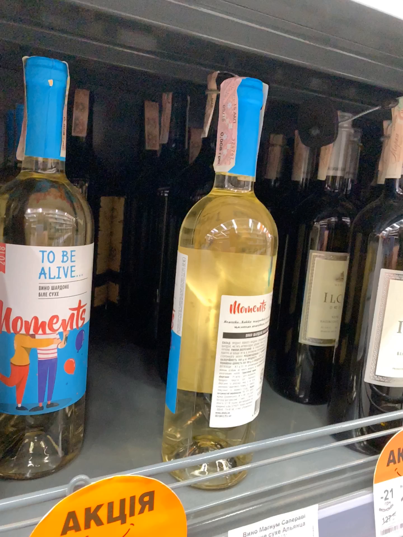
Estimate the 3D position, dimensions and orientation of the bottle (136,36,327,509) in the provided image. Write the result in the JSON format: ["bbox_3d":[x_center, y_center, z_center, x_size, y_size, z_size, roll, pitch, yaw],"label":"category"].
[{"bbox_3d":[0.017,0.007,0.326,0.080,0.313,0.081,6,11,-1],"label":"bottle"}]
